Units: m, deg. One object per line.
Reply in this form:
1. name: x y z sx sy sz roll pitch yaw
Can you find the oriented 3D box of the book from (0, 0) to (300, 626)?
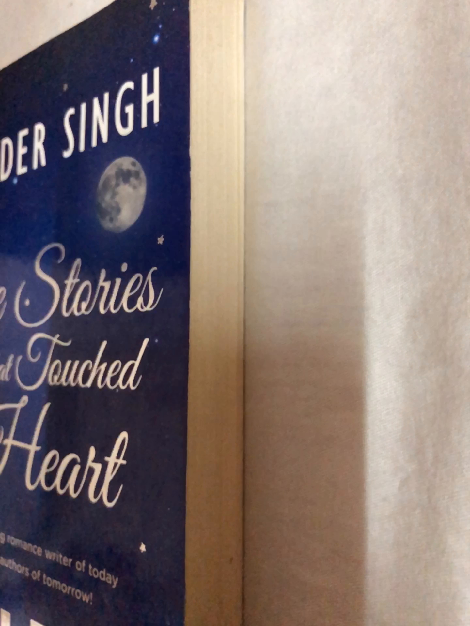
1. book: -0.047 0.031 0.163 0.130 0.030 0.210 0 87 40
